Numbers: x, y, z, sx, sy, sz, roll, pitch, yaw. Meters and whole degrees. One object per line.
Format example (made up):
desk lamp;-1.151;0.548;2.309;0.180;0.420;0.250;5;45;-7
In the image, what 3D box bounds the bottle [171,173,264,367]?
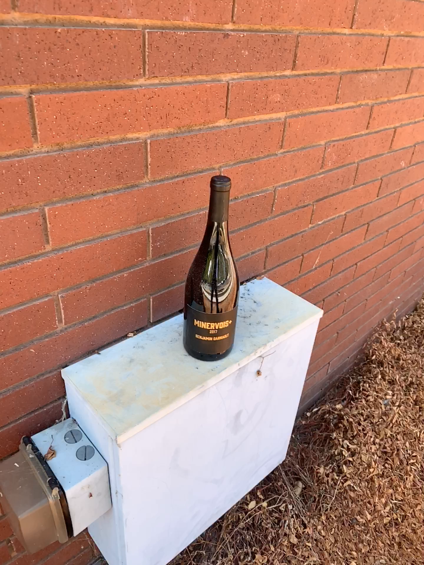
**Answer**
bottle;-0.003;-0.012;0.633;0.100;0.268;0.091;-2;33;-11
